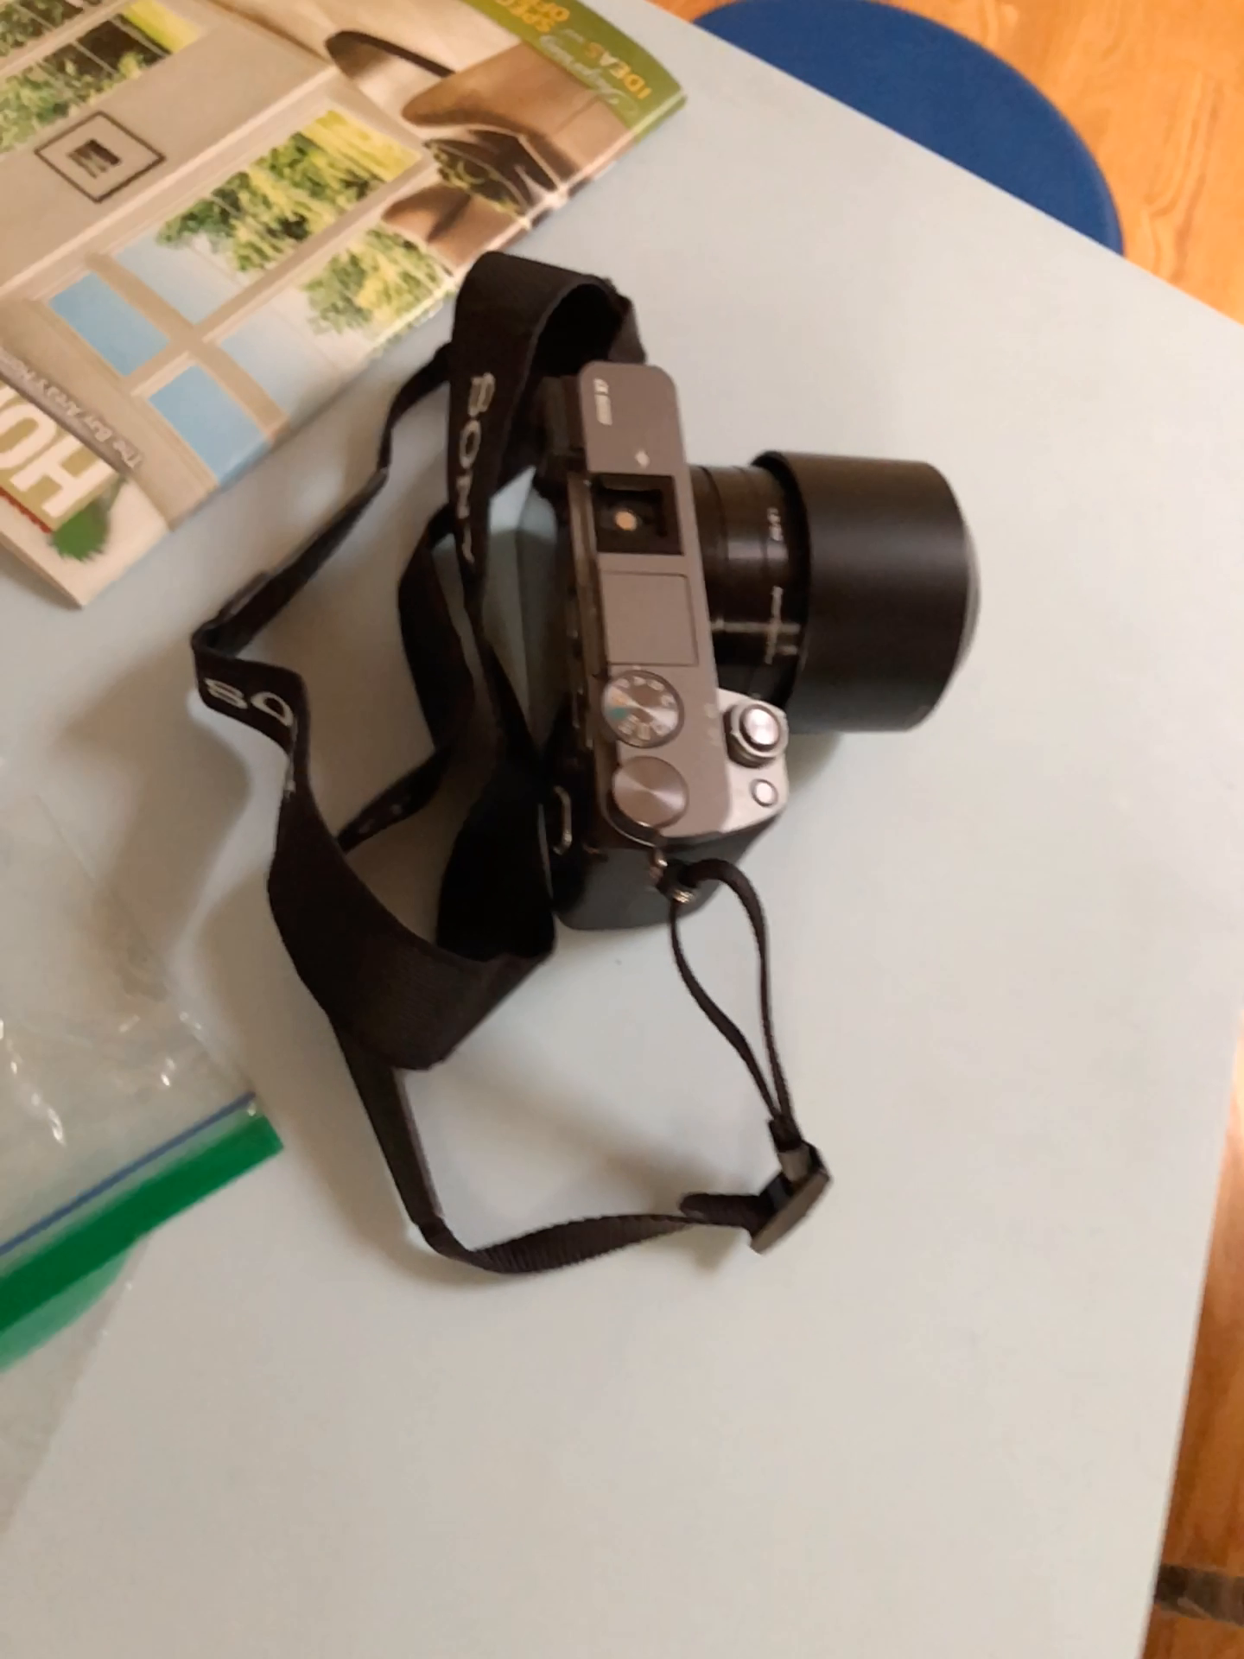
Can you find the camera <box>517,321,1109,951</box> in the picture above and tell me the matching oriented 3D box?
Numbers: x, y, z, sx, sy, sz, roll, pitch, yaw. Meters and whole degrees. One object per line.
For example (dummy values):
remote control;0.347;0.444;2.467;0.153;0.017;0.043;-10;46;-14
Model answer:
camera;0.038;-0.043;0.341;0.110;0.070;0.130;1;67;-16
